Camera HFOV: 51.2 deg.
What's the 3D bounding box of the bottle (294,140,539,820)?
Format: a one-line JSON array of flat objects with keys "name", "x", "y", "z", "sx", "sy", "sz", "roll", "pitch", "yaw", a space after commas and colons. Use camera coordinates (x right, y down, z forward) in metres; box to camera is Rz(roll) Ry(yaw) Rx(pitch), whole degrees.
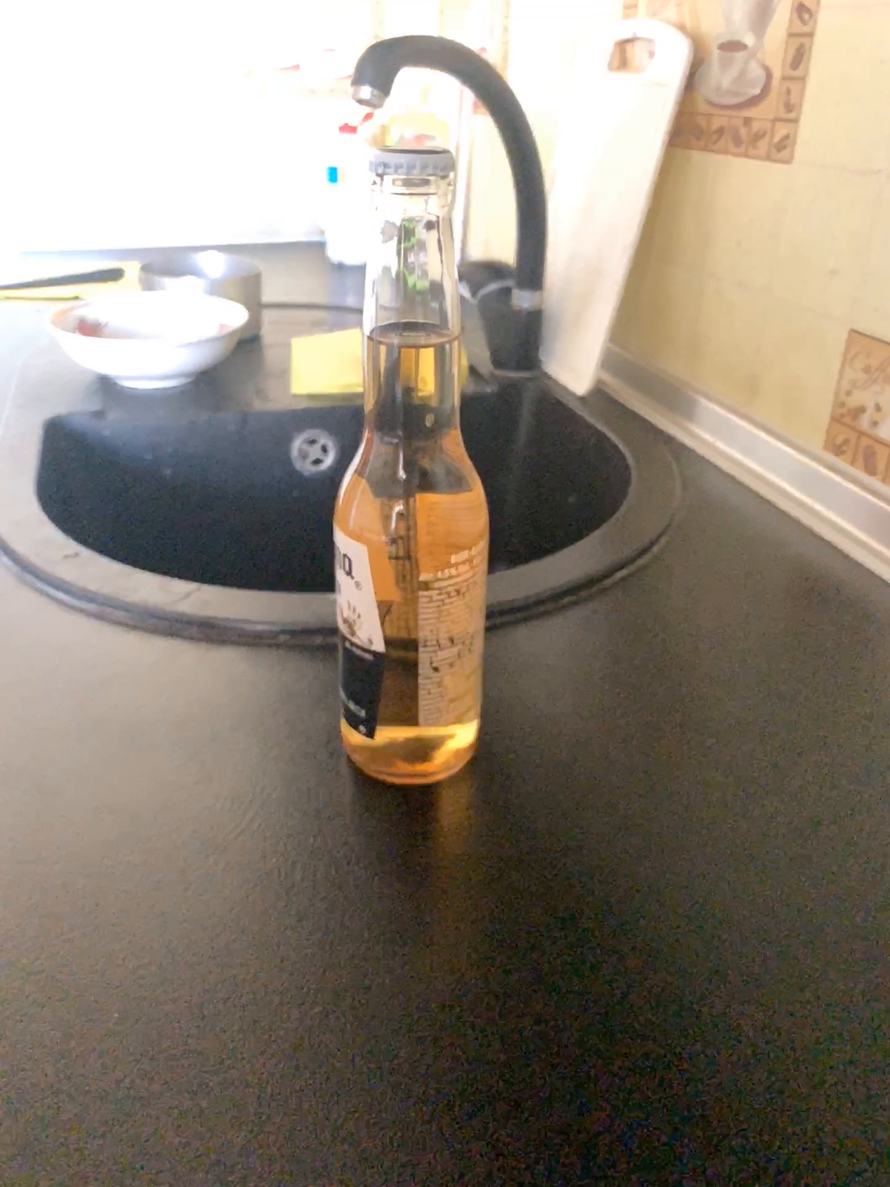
[{"name": "bottle", "x": -0.009, "y": -0.033, "z": 0.356, "sx": 0.070, "sy": 0.249, "sz": 0.070, "roll": 1, "pitch": 29, "yaw": 0}]
